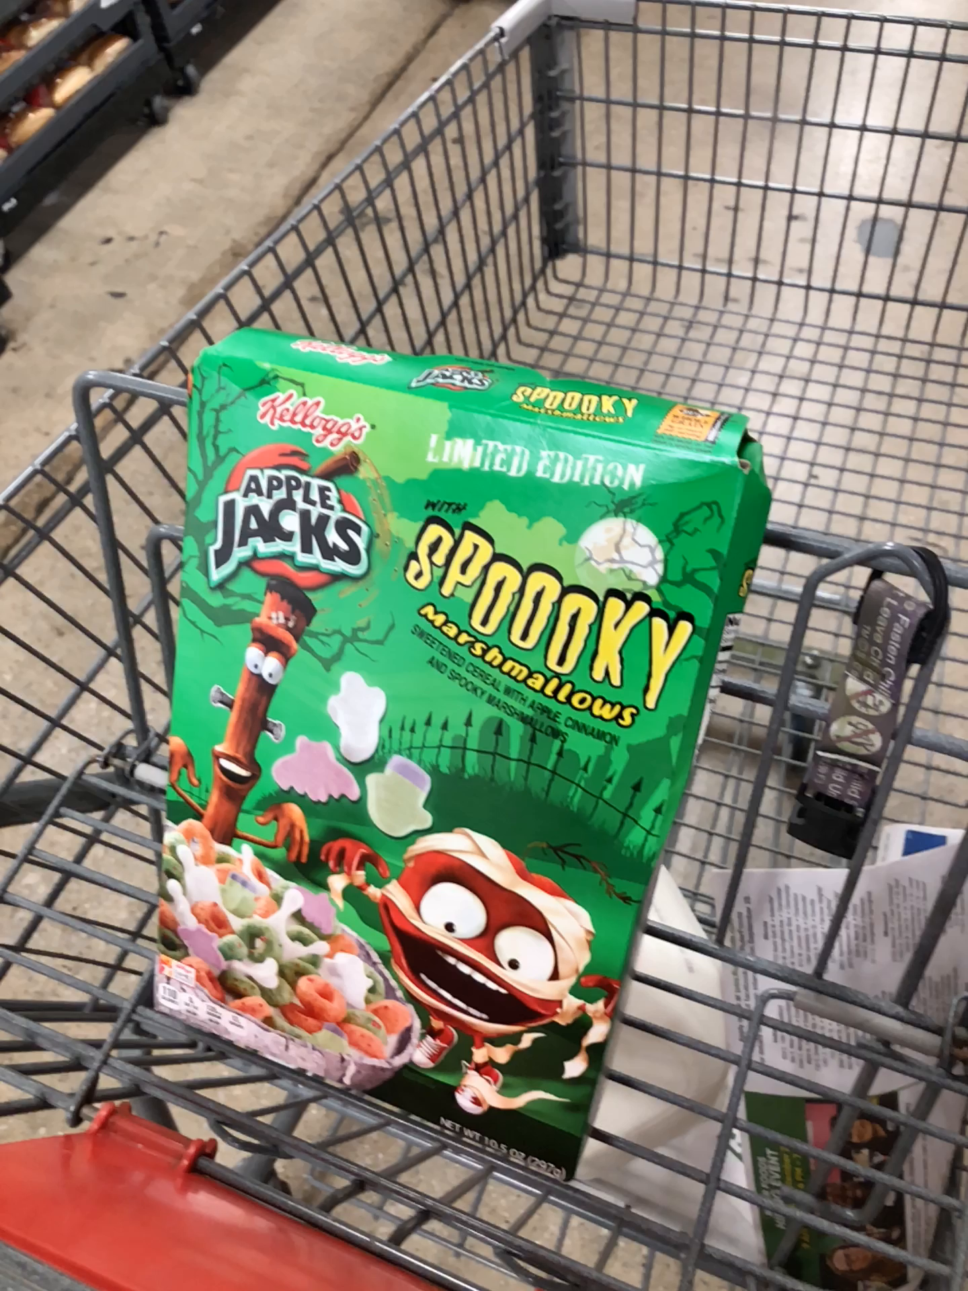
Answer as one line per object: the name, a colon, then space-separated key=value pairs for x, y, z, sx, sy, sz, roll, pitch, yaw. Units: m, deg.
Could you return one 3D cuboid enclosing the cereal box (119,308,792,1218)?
cereal box: x=-0.026 y=0.039 z=0.390 sx=0.200 sy=0.280 sz=0.070 roll=16 pitch=23 yaw=17
